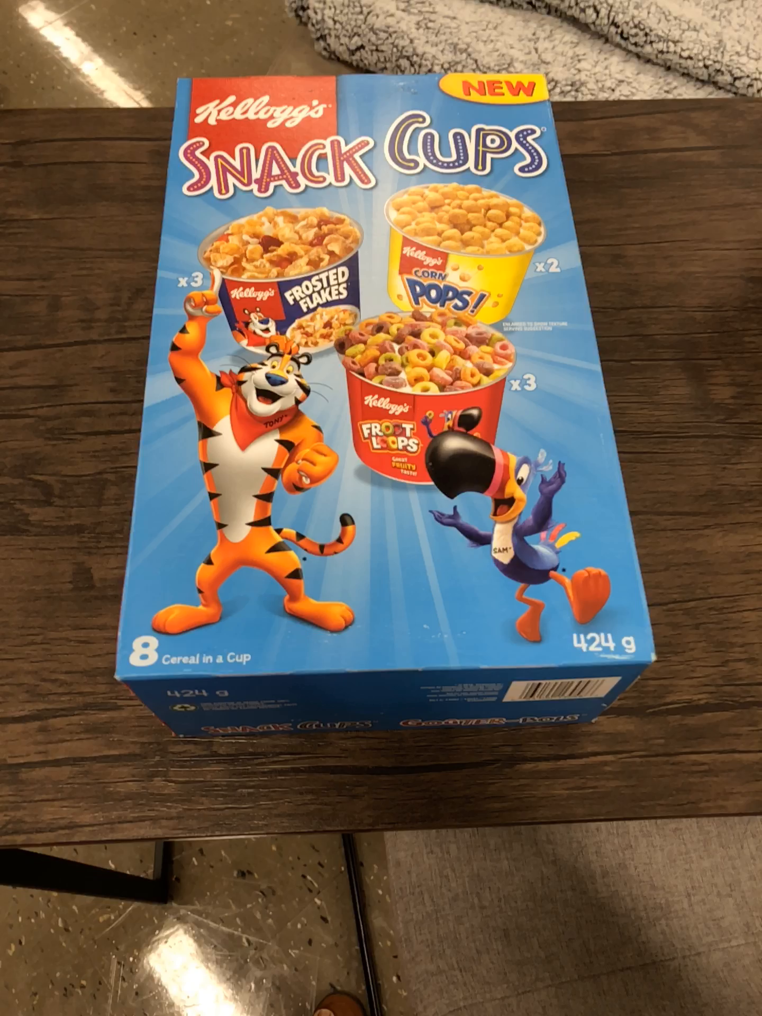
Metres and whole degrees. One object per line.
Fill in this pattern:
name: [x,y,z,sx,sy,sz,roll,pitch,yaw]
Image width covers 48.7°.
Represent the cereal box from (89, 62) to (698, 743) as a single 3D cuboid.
cereal box: [-0.001,-0.064,0.420,0.220,0.100,0.330,-1,65,-2]
